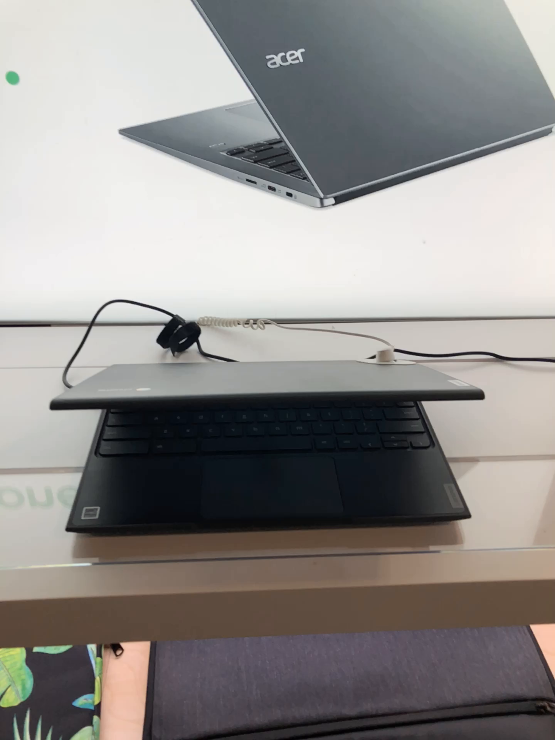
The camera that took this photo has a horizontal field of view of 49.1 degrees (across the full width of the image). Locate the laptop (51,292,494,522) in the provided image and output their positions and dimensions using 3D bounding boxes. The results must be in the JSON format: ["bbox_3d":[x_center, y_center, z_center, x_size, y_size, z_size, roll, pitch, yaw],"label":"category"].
[{"bbox_3d":[-0.010,0.018,0.474,0.277,0.072,0.187,-1,35,-1],"label":"laptop"}]
